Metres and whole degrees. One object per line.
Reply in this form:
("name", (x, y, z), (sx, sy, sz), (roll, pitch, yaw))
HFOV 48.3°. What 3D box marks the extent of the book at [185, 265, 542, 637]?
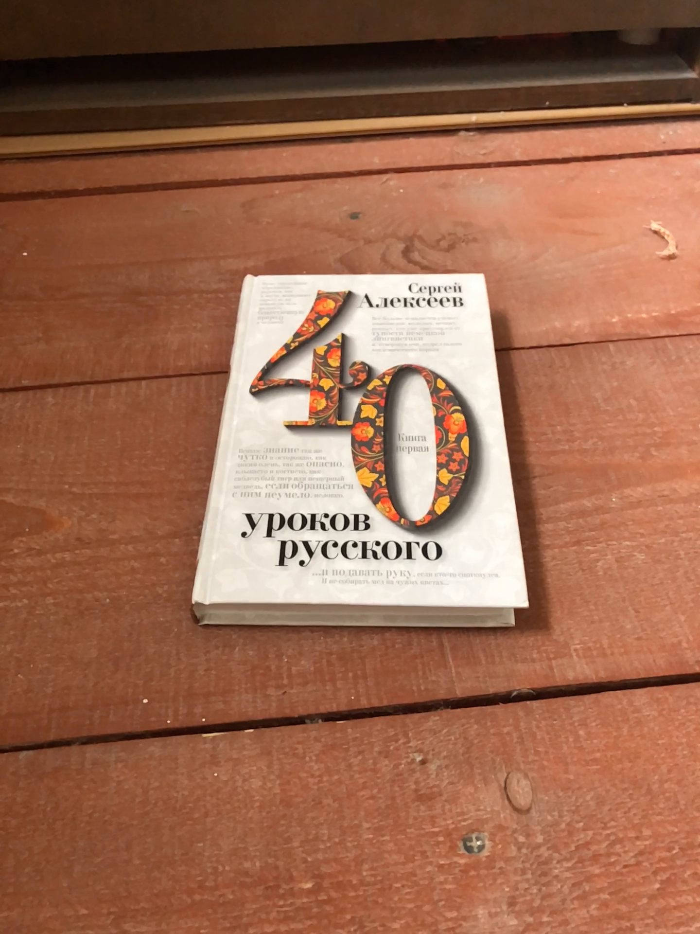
("book", (0.007, -0.020, 0.368), (0.135, 0.030, 0.201), (0, 52, 1))
